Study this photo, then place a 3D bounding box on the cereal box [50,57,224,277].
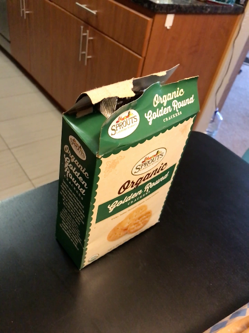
[{"bbox_3d":[0.001,0.005,0.357,0.171,0.248,0.080,-23,52,-35],"label":"cereal box"}]
